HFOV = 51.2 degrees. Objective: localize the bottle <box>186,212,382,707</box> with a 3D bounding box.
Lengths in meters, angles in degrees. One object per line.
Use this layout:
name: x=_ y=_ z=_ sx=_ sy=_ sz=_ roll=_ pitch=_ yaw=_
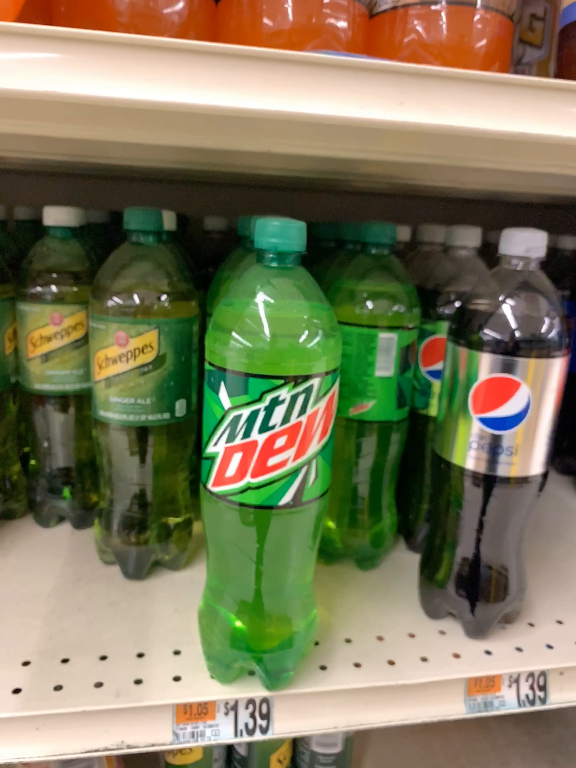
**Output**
bottle: x=-0.012 y=0.048 z=0.393 sx=0.100 sy=0.302 sz=0.090 roll=1 pitch=15 yaw=-7
